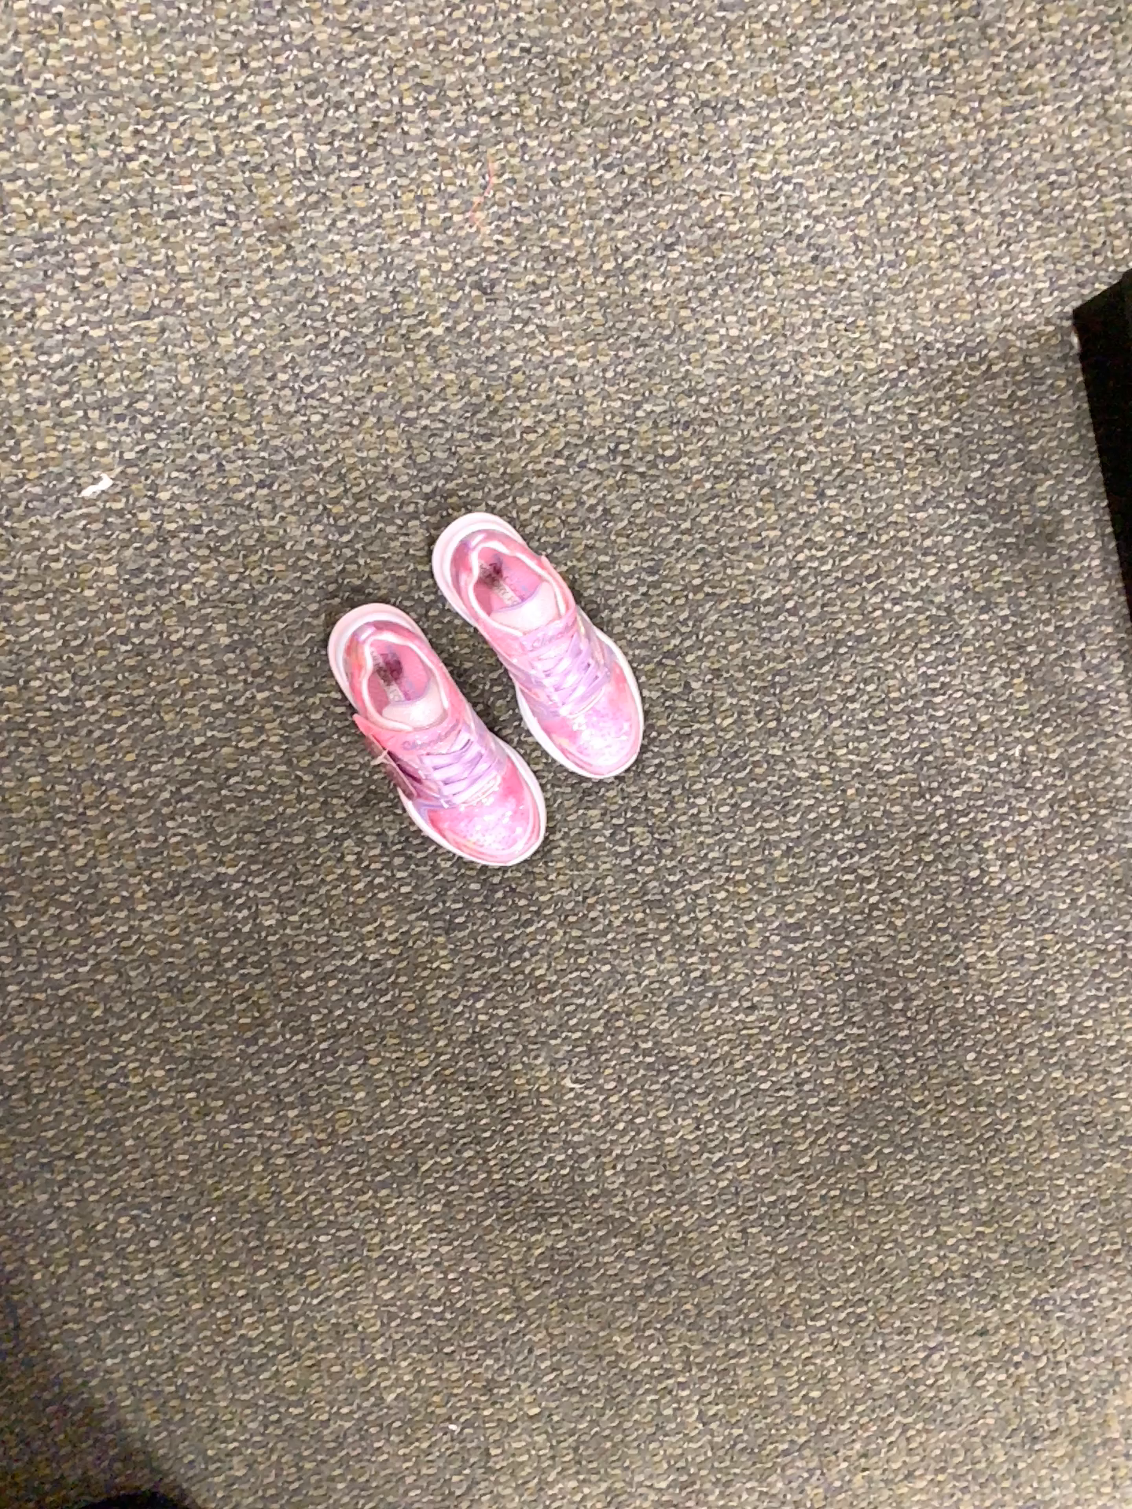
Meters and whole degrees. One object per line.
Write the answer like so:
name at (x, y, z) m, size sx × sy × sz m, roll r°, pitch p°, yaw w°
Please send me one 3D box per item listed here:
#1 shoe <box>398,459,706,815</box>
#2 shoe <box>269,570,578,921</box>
shoe at (-0.013, -0.071, 0.747) m, size 0.086 × 0.110 × 0.200 m, roll -36°, pitch 95°, yaw -5°
shoe at (-0.091, -0.006, 0.755) m, size 0.086 × 0.110 × 0.200 m, roll -36°, pitch 95°, yaw -5°
